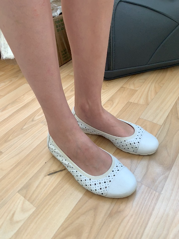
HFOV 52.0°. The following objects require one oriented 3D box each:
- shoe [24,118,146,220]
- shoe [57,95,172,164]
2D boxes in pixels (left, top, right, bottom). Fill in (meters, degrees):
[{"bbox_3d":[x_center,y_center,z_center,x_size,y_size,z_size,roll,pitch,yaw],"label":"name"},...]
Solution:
[{"bbox_3d":[-0.020,0.094,0.429,0.271,0.070,0.100,22,50,32],"label":"shoe"},{"bbox_3d":[0.057,0.013,0.478,0.271,0.070,0.090,15,47,27],"label":"shoe"}]
